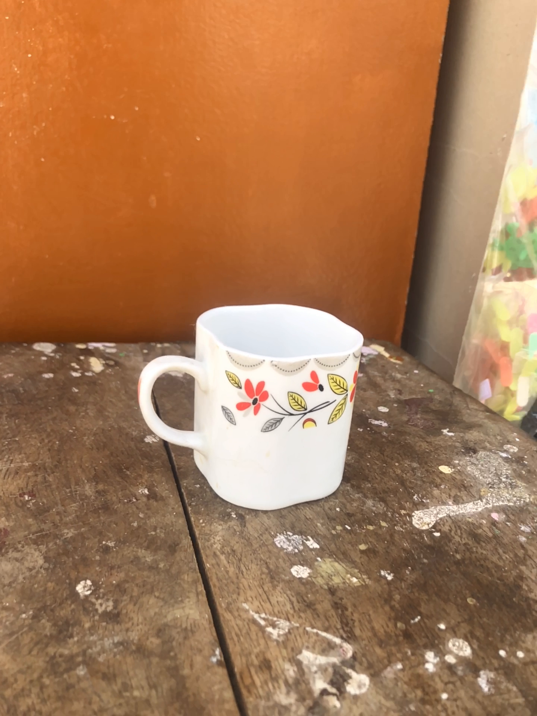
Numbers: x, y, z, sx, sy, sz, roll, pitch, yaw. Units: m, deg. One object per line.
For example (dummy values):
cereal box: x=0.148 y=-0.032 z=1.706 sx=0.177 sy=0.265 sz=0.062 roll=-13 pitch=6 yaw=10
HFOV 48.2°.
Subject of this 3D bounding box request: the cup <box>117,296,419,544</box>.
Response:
cup: x=-0.004 y=0.016 z=0.222 sx=0.090 sy=0.060 sz=0.060 roll=-6 pitch=21 yaw=-24
